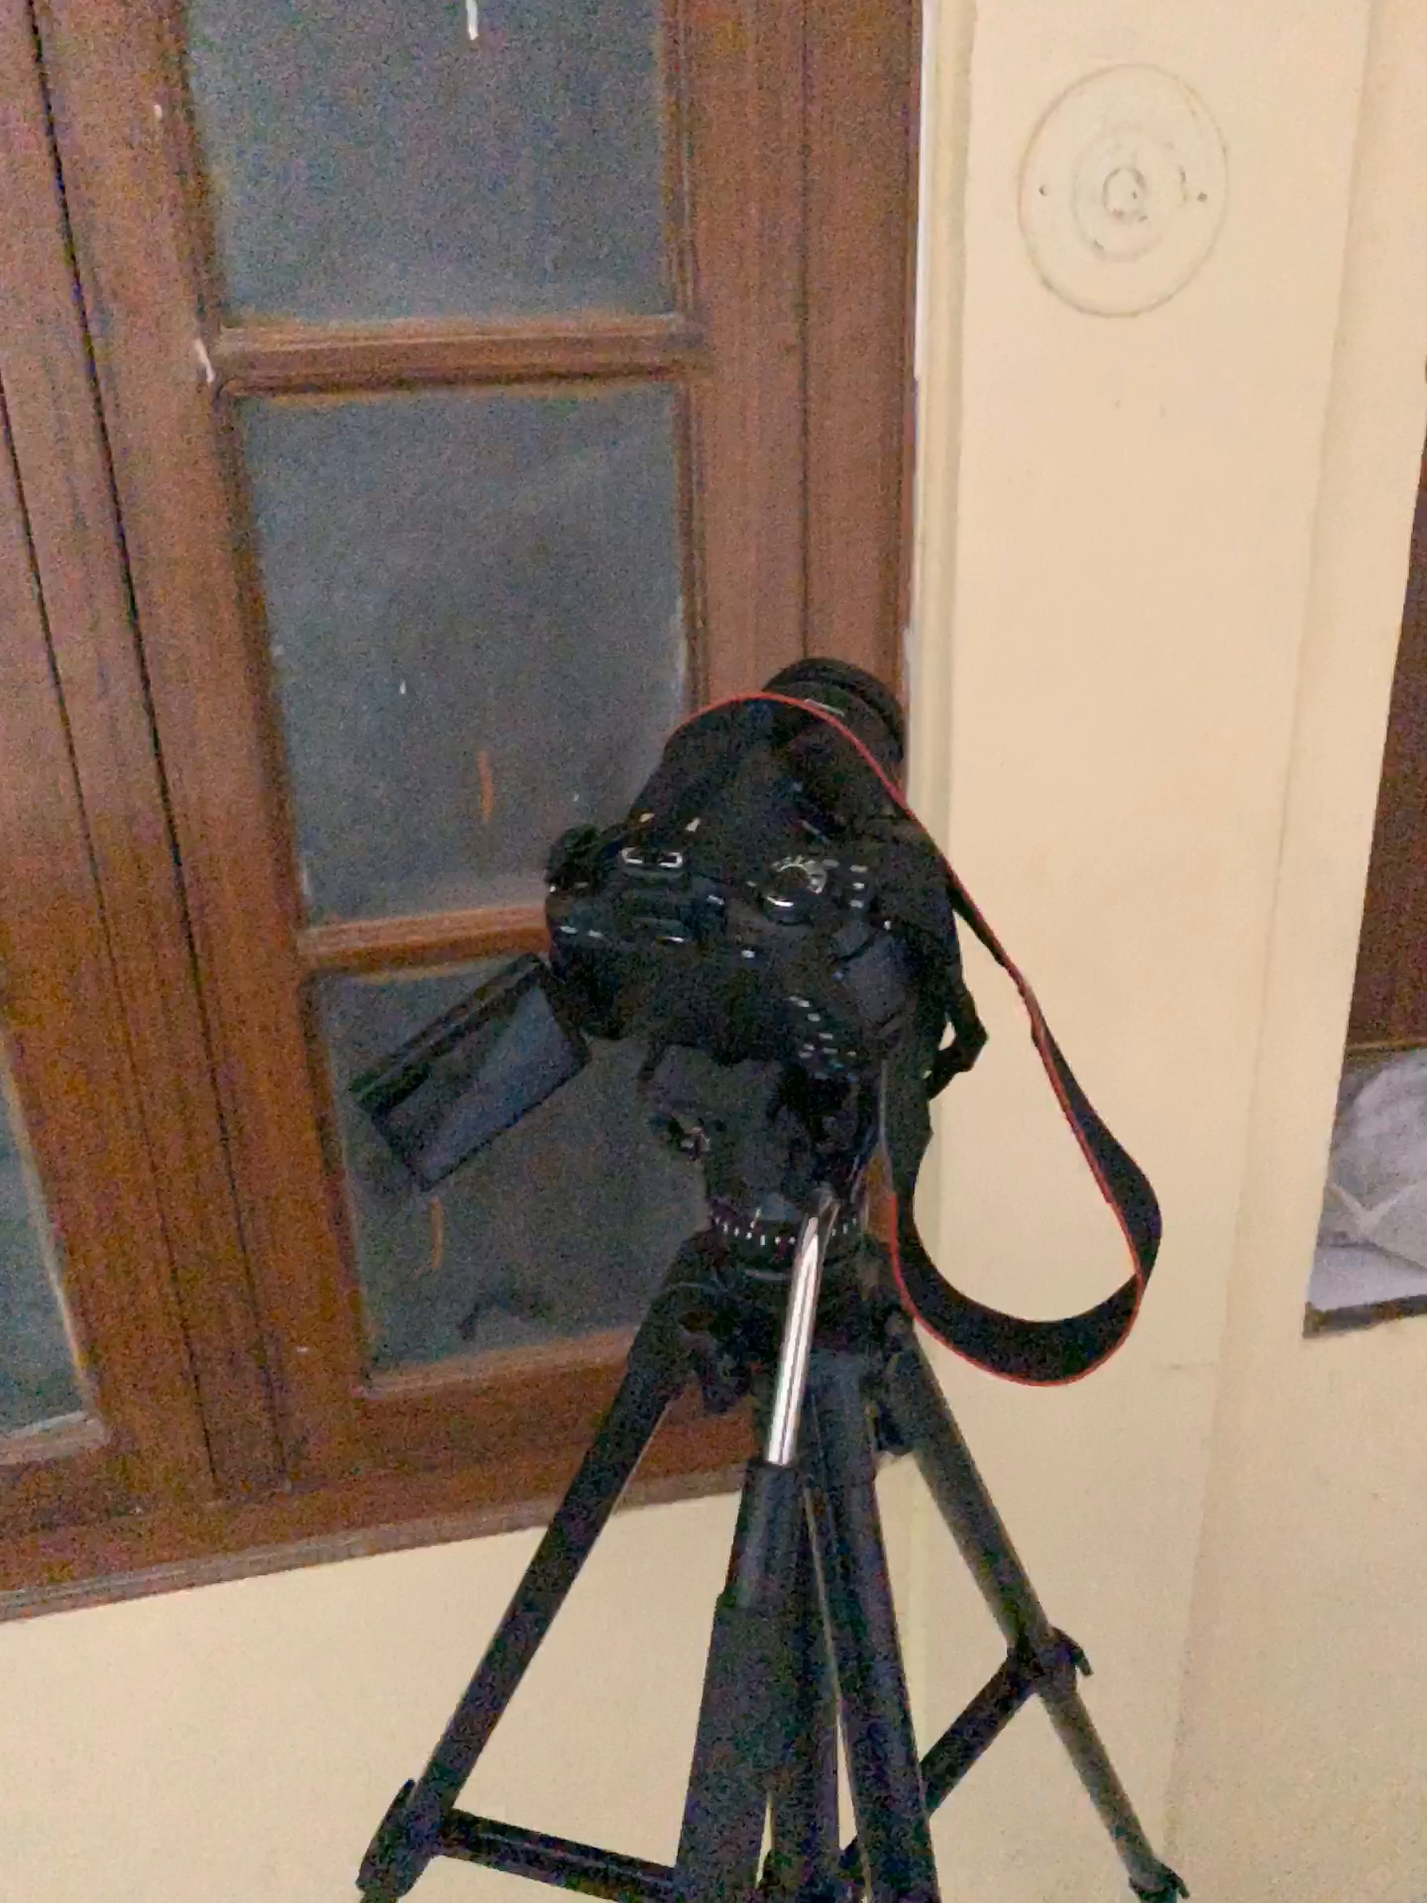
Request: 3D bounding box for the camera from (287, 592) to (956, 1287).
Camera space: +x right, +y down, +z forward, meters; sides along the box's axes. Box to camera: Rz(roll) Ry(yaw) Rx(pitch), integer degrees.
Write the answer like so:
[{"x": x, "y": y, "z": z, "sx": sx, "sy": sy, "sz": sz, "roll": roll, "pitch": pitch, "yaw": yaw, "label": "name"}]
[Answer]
[{"x": -0.014, "y": -0.019, "z": 0.514, "sx": 0.142, "sy": 0.099, "sz": 0.226, "roll": 7, "pitch": 47, "yaw": 21, "label": "camera"}]
